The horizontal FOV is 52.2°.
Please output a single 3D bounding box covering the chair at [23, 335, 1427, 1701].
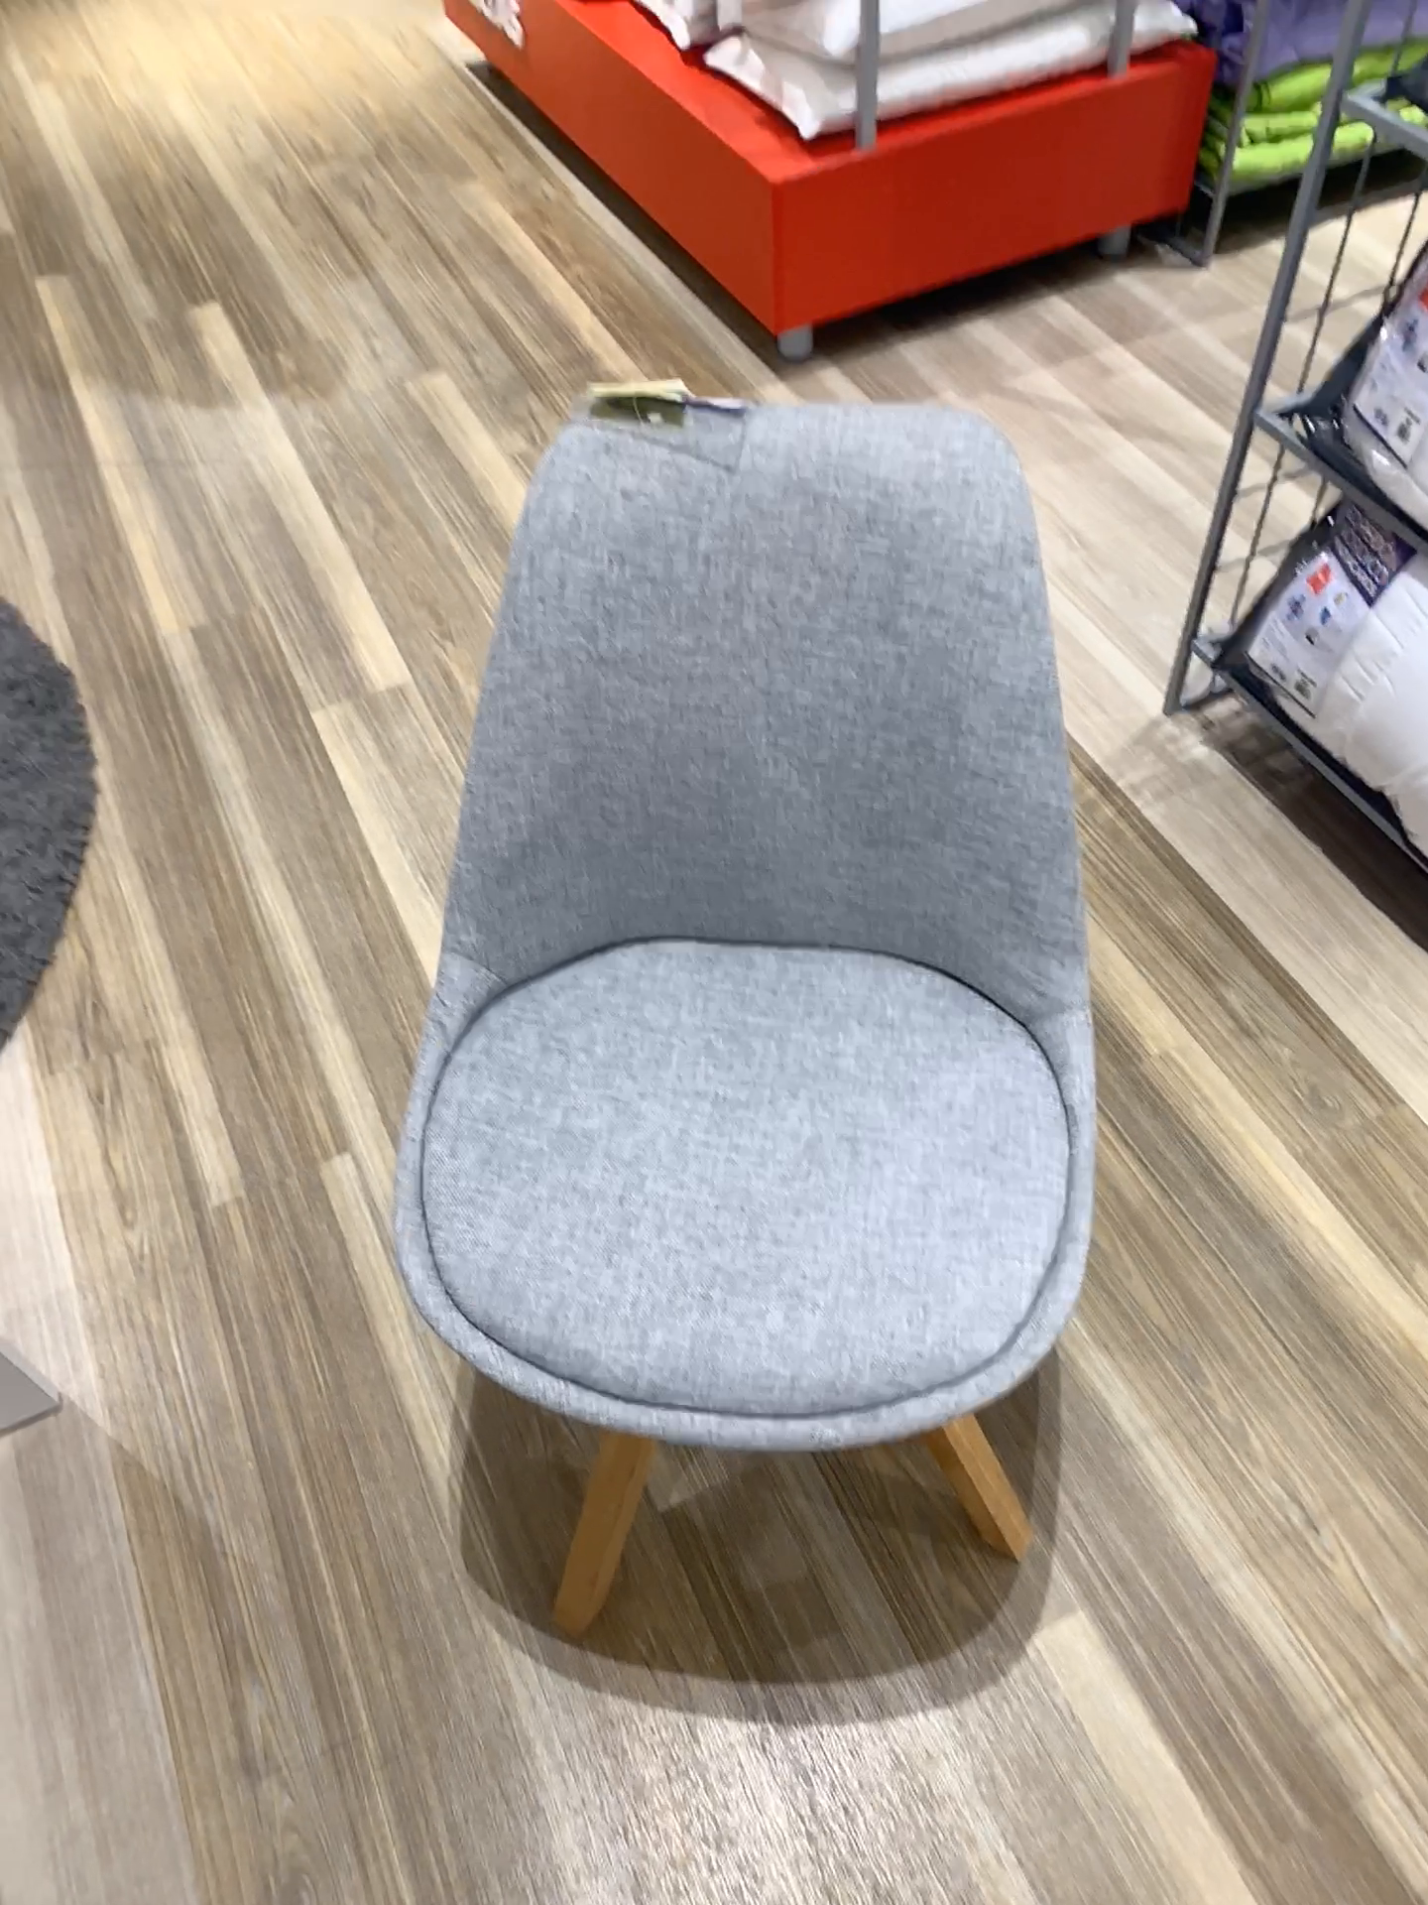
[{"bbox_3d":[0.043,0.116,1.016,0.513,0.857,0.517,3,52,6],"label":"chair"}]
